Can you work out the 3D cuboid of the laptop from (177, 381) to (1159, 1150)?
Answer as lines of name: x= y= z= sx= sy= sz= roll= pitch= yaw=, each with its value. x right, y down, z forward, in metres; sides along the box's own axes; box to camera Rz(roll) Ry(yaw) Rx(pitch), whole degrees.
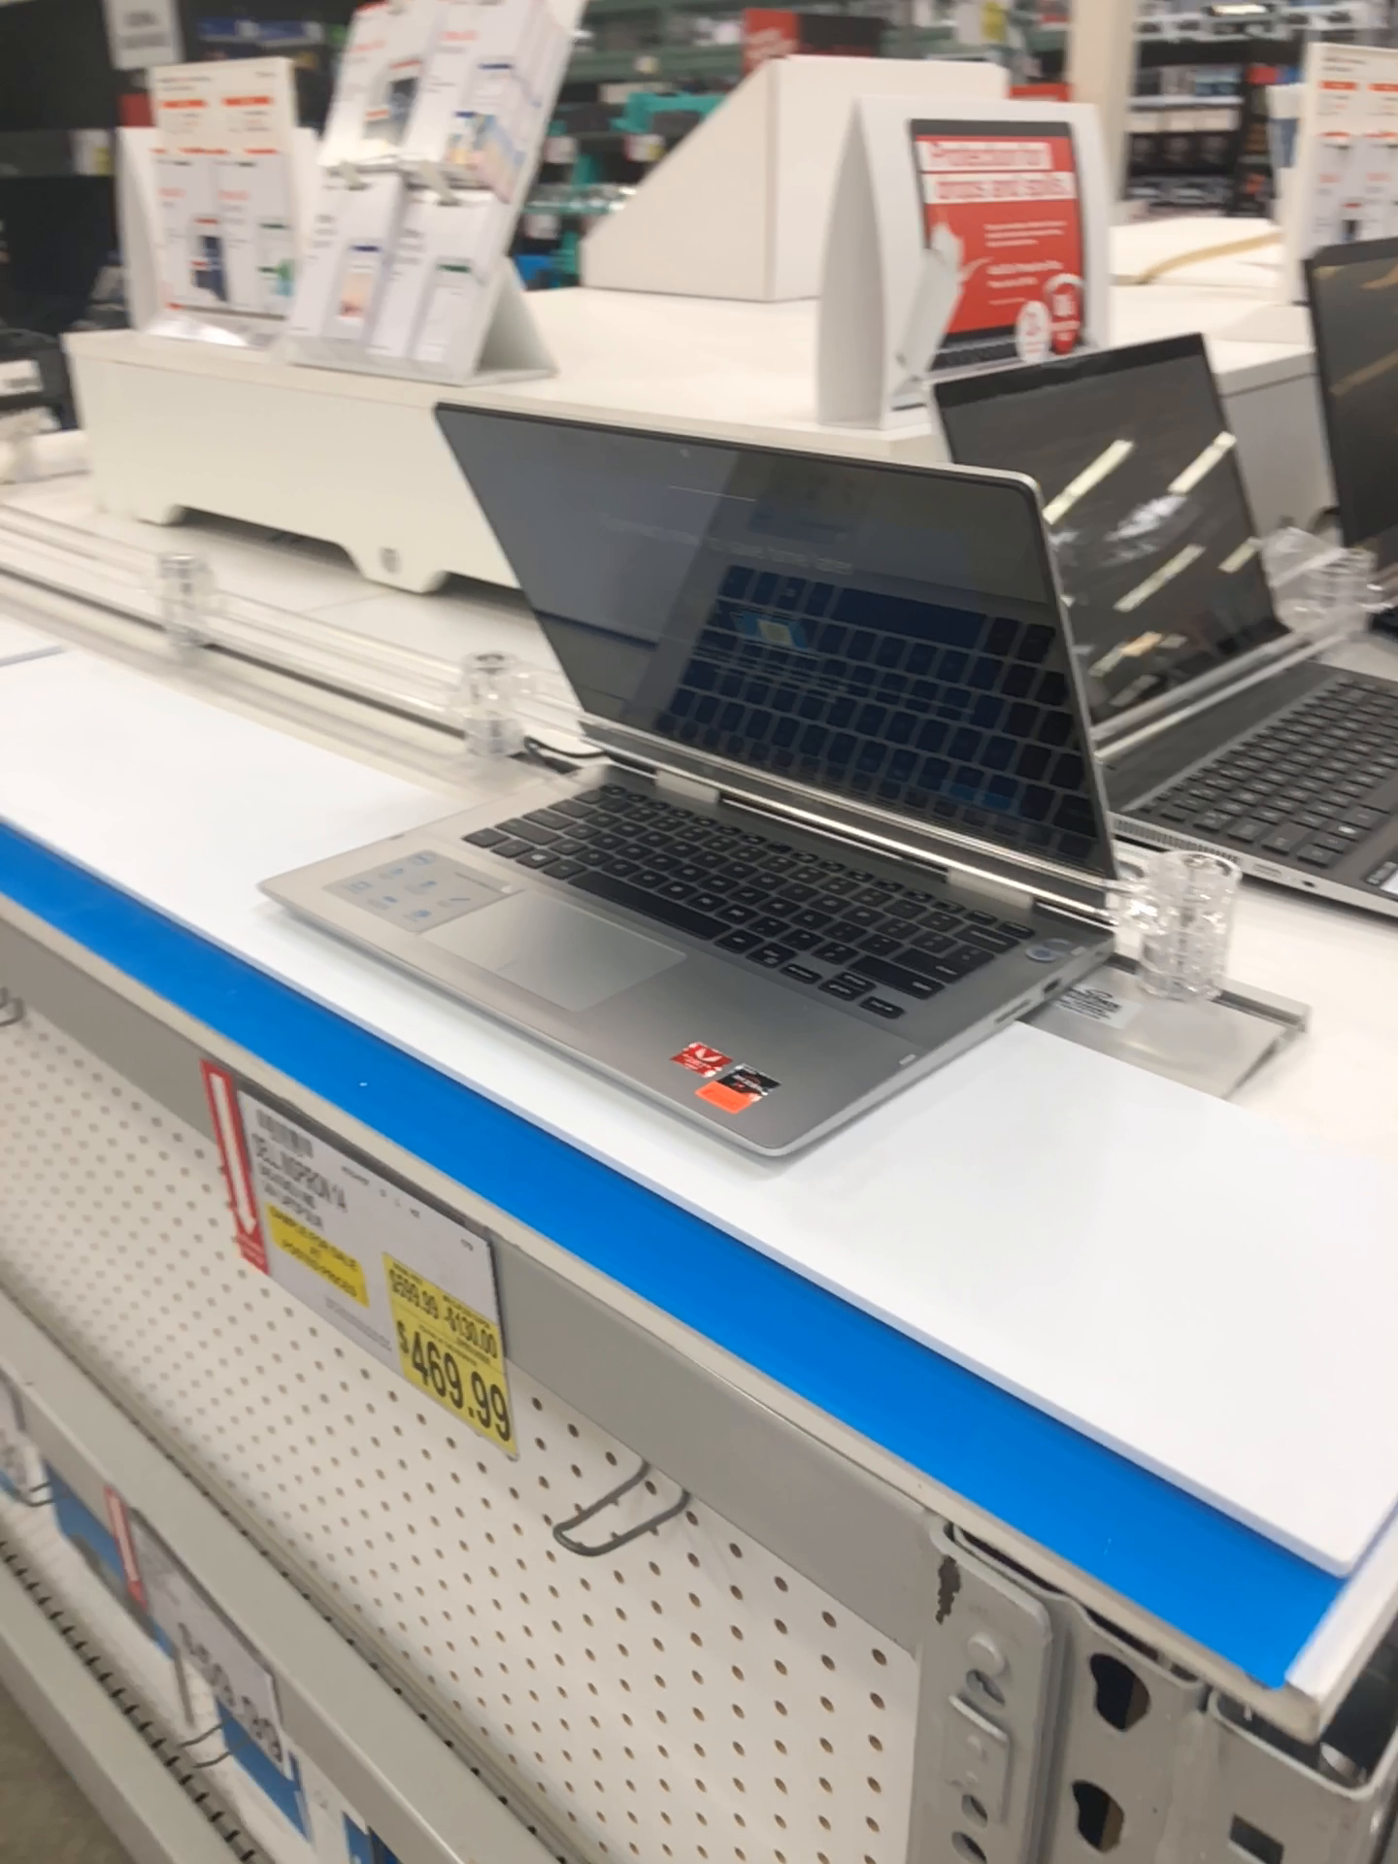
laptop: x=-0.019 y=-0.102 z=0.640 sx=0.319 sy=0.199 sz=0.223 roll=22 pitch=34 yaw=39
